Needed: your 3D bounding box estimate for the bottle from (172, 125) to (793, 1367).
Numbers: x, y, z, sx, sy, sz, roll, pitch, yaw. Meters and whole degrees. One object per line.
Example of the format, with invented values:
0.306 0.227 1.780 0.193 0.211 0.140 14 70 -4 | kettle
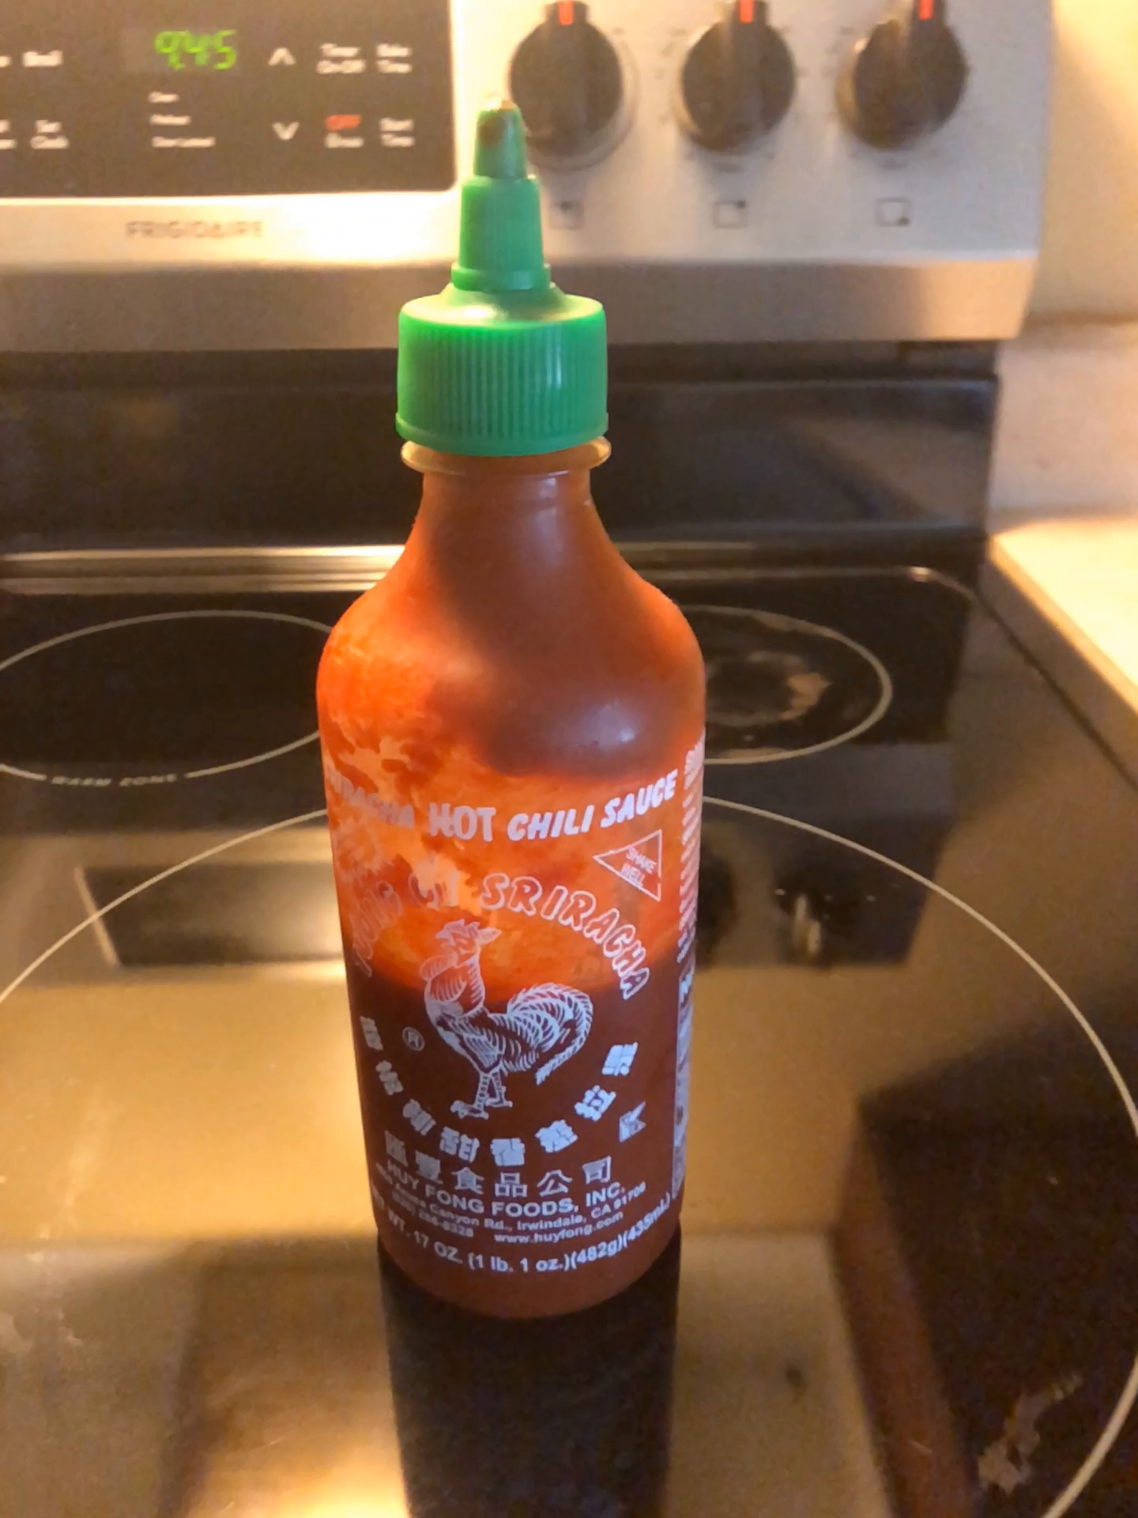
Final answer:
-0.006 0.004 0.219 0.070 0.199 0.070 -1 27 0 | bottle
